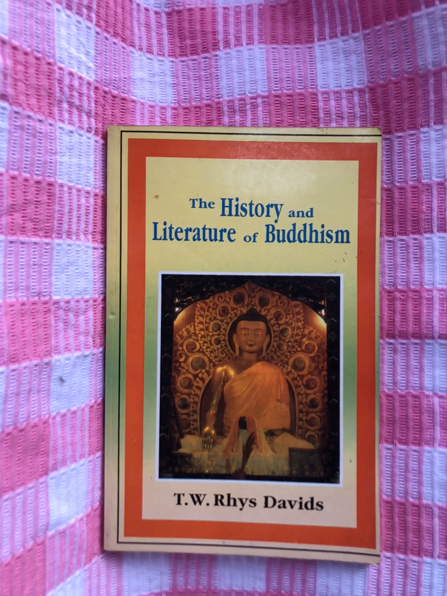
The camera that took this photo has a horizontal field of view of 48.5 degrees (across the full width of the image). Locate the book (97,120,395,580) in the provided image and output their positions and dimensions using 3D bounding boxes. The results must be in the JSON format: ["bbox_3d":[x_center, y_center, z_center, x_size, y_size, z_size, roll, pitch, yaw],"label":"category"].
[{"bbox_3d":[0.010,0.023,0.252,0.020,0.140,0.220,-2,94,-85],"label":"book"}]
